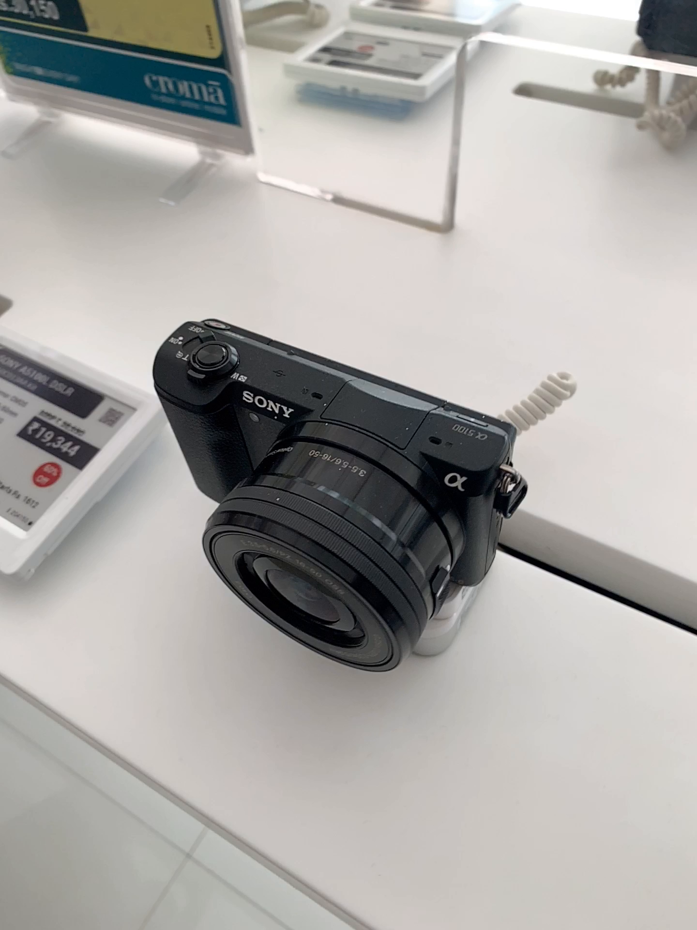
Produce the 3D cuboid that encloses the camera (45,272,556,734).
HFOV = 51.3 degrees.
[{"bbox_3d":[-0.011,0.009,0.208,0.110,0.080,0.060,23,57,22],"label":"camera"}]
